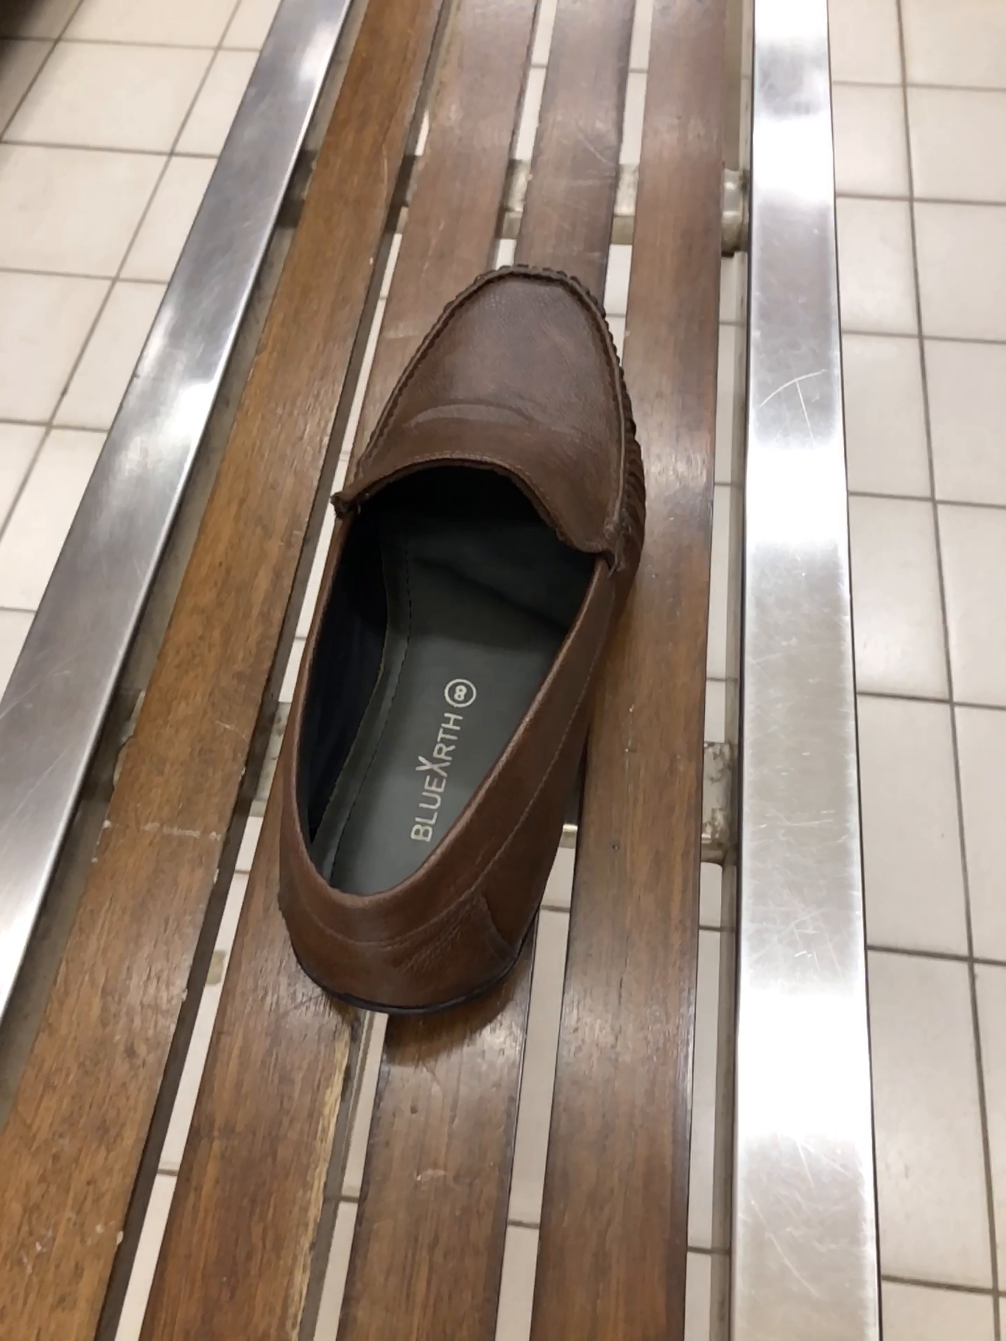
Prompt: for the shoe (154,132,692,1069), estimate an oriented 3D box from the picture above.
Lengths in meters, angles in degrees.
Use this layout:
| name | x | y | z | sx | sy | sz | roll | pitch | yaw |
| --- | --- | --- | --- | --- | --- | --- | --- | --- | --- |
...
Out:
| name | x | y | z | sx | sy | sz | roll | pitch | yaw |
| --- | --- | --- | --- | --- | --- | --- | --- | --- | --- |
| shoe | -0.005 | -0.040 | 0.371 | 0.104 | 0.093 | 0.302 | 7 | 60 | 6 |
